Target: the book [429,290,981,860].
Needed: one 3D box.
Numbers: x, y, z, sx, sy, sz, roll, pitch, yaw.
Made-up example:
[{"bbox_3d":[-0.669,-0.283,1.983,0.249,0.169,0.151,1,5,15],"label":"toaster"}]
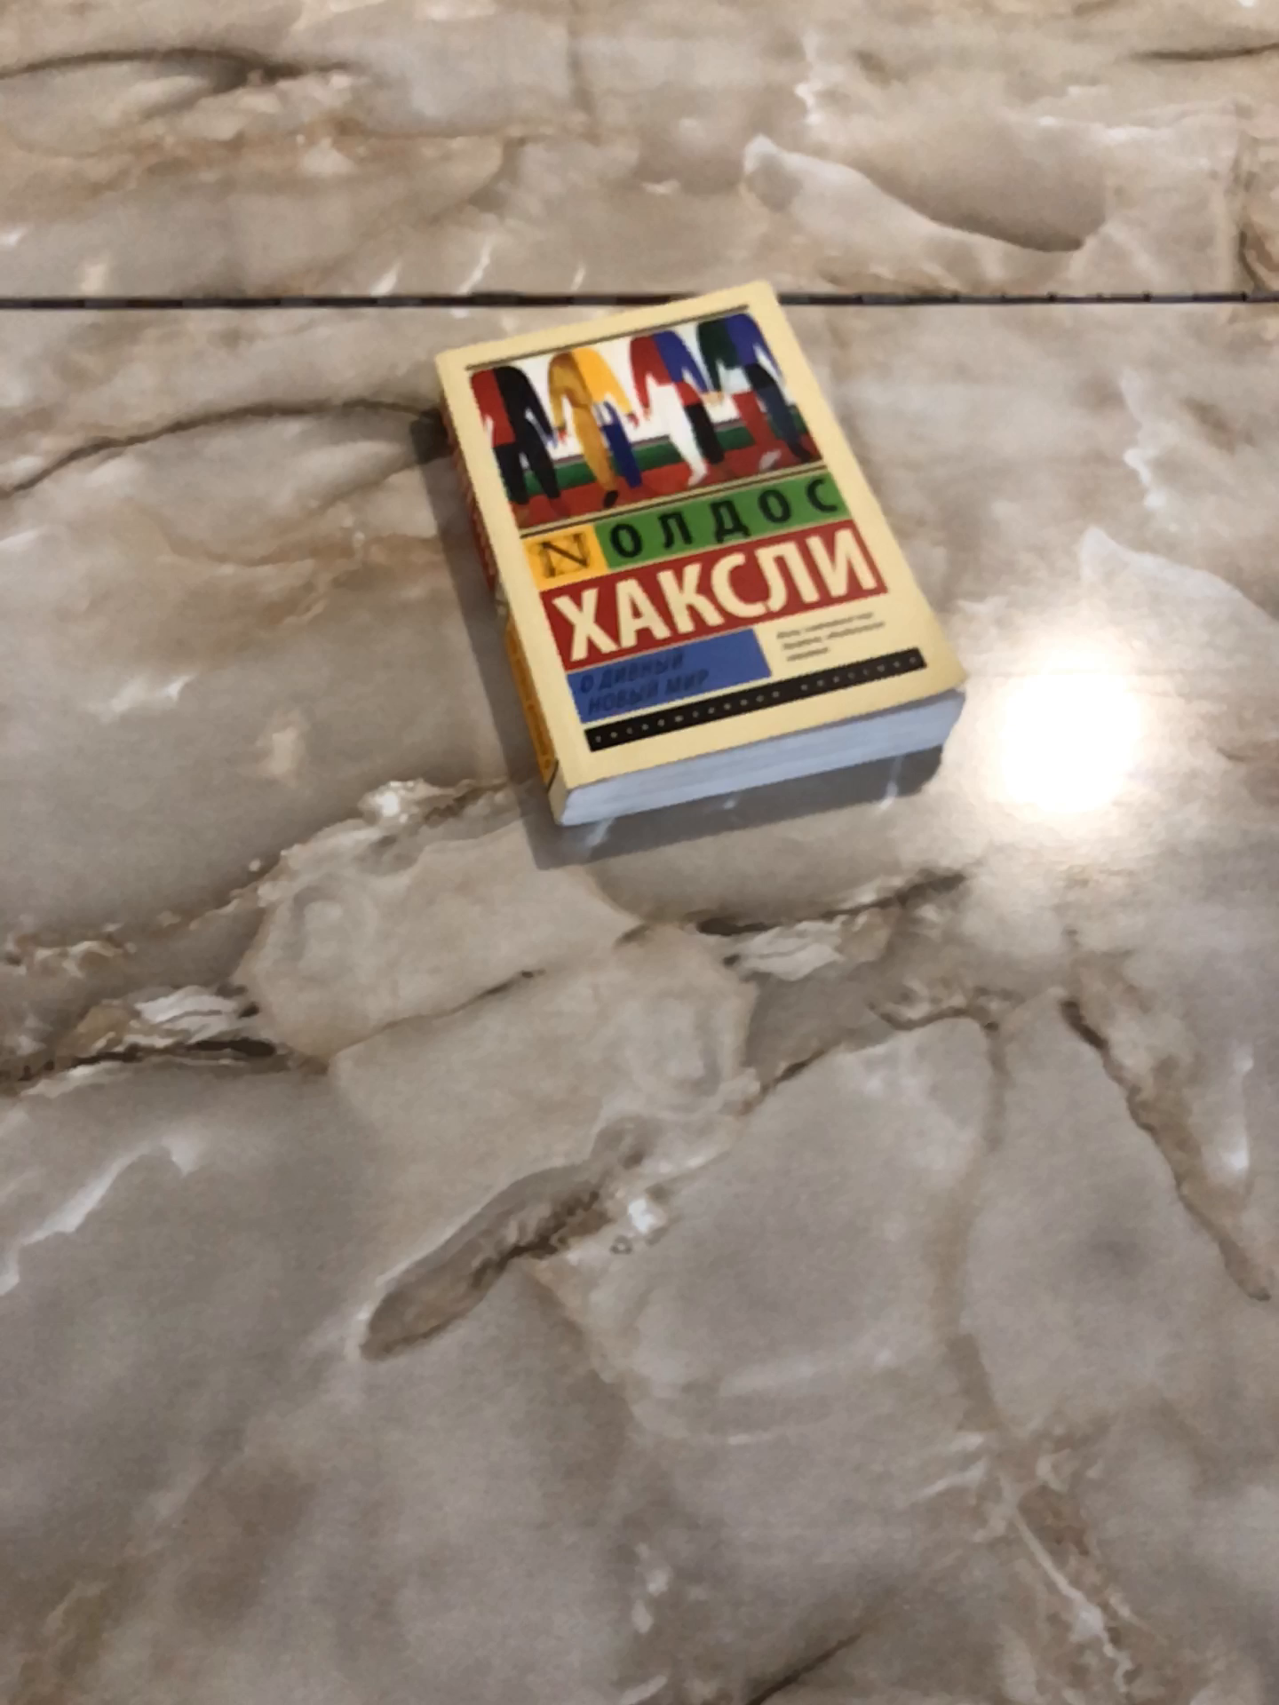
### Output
[{"bbox_3d":[0.012,-0.094,0.438,0.120,0.028,0.184,-12,59,-8],"label":"book"}]
